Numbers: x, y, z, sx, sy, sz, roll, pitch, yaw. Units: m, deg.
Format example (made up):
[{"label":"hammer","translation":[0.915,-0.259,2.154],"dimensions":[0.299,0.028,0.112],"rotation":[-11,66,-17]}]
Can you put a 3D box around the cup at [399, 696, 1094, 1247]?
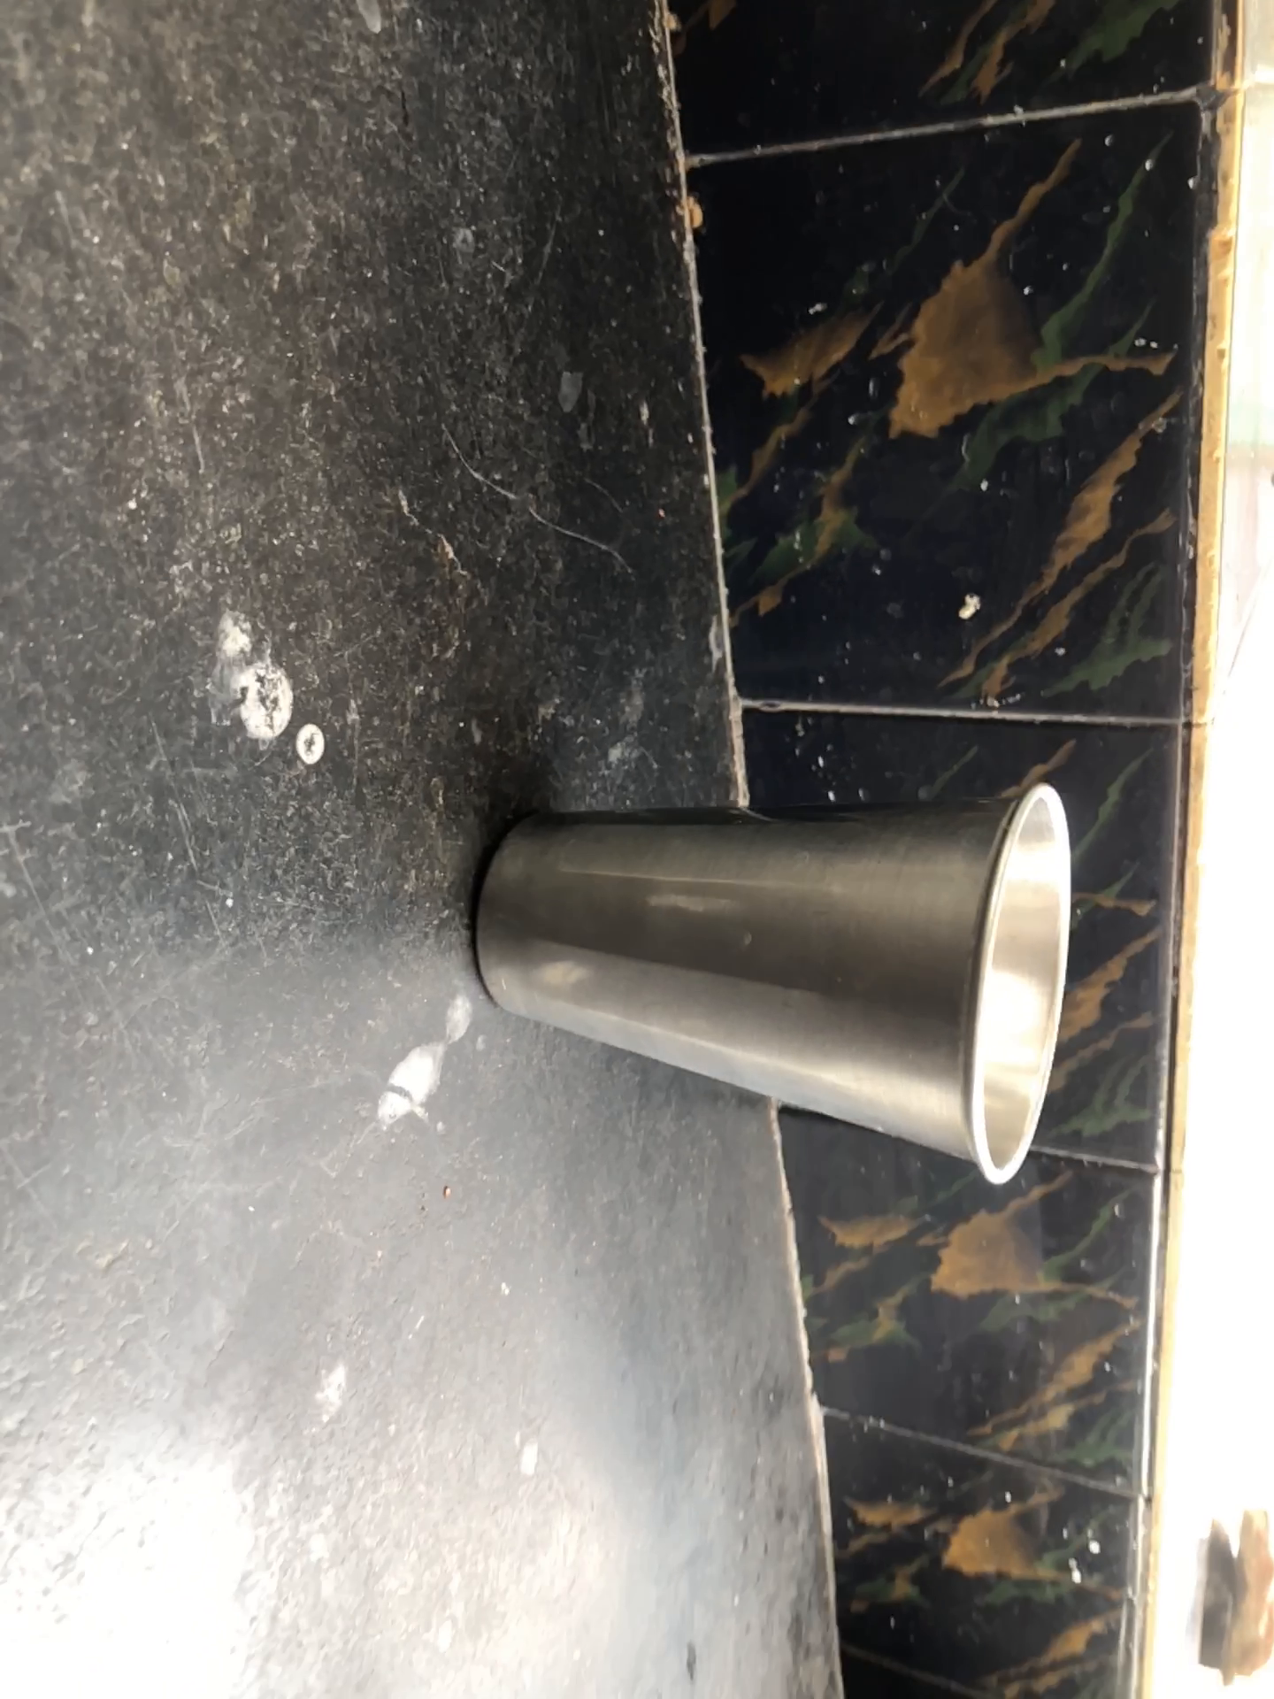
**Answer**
[{"label":"cup","translation":[0.029,0.023,0.305],"dimensions":[0.080,0.119,0.070],"rotation":[70,35,-43]}]
